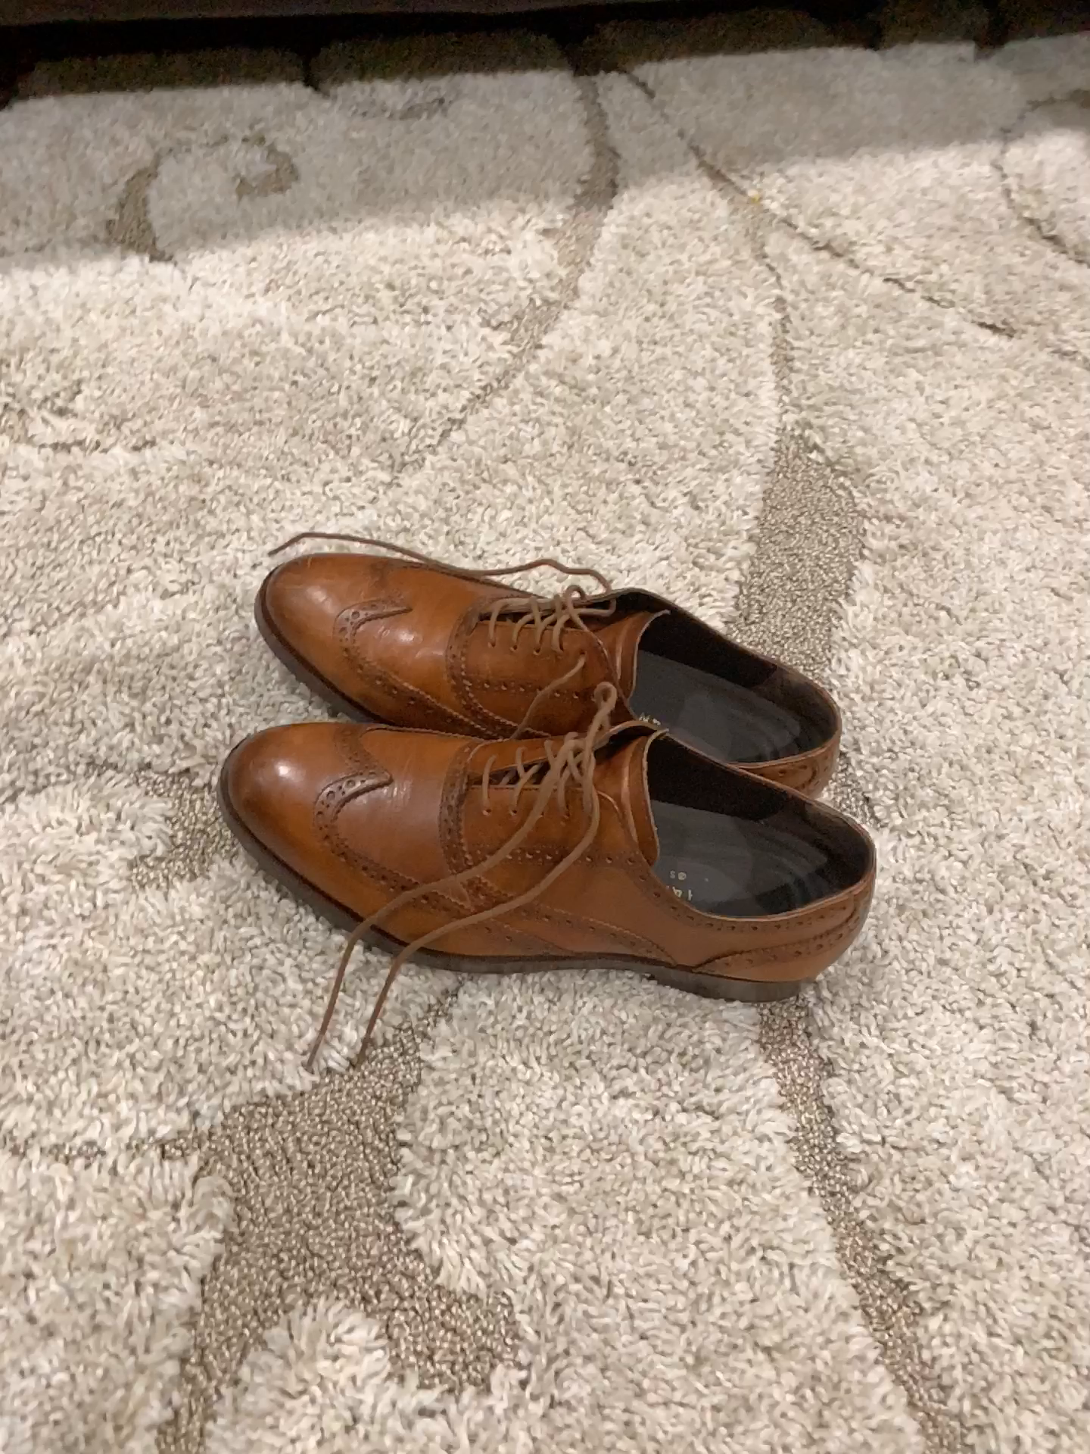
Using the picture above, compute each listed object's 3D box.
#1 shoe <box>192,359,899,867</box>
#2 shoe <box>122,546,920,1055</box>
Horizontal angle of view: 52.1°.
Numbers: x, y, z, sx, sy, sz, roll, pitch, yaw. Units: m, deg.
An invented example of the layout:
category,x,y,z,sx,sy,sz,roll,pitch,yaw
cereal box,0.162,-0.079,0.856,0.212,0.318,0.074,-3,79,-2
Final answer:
category,x,y,z,sx,sy,sz,roll,pitch,yaw
shoe,0.000,-0.049,0.522,0.282,0.131,0.106,16,56,2
shoe,-0.007,0.037,0.466,0.280,0.131,0.106,12,56,-1
